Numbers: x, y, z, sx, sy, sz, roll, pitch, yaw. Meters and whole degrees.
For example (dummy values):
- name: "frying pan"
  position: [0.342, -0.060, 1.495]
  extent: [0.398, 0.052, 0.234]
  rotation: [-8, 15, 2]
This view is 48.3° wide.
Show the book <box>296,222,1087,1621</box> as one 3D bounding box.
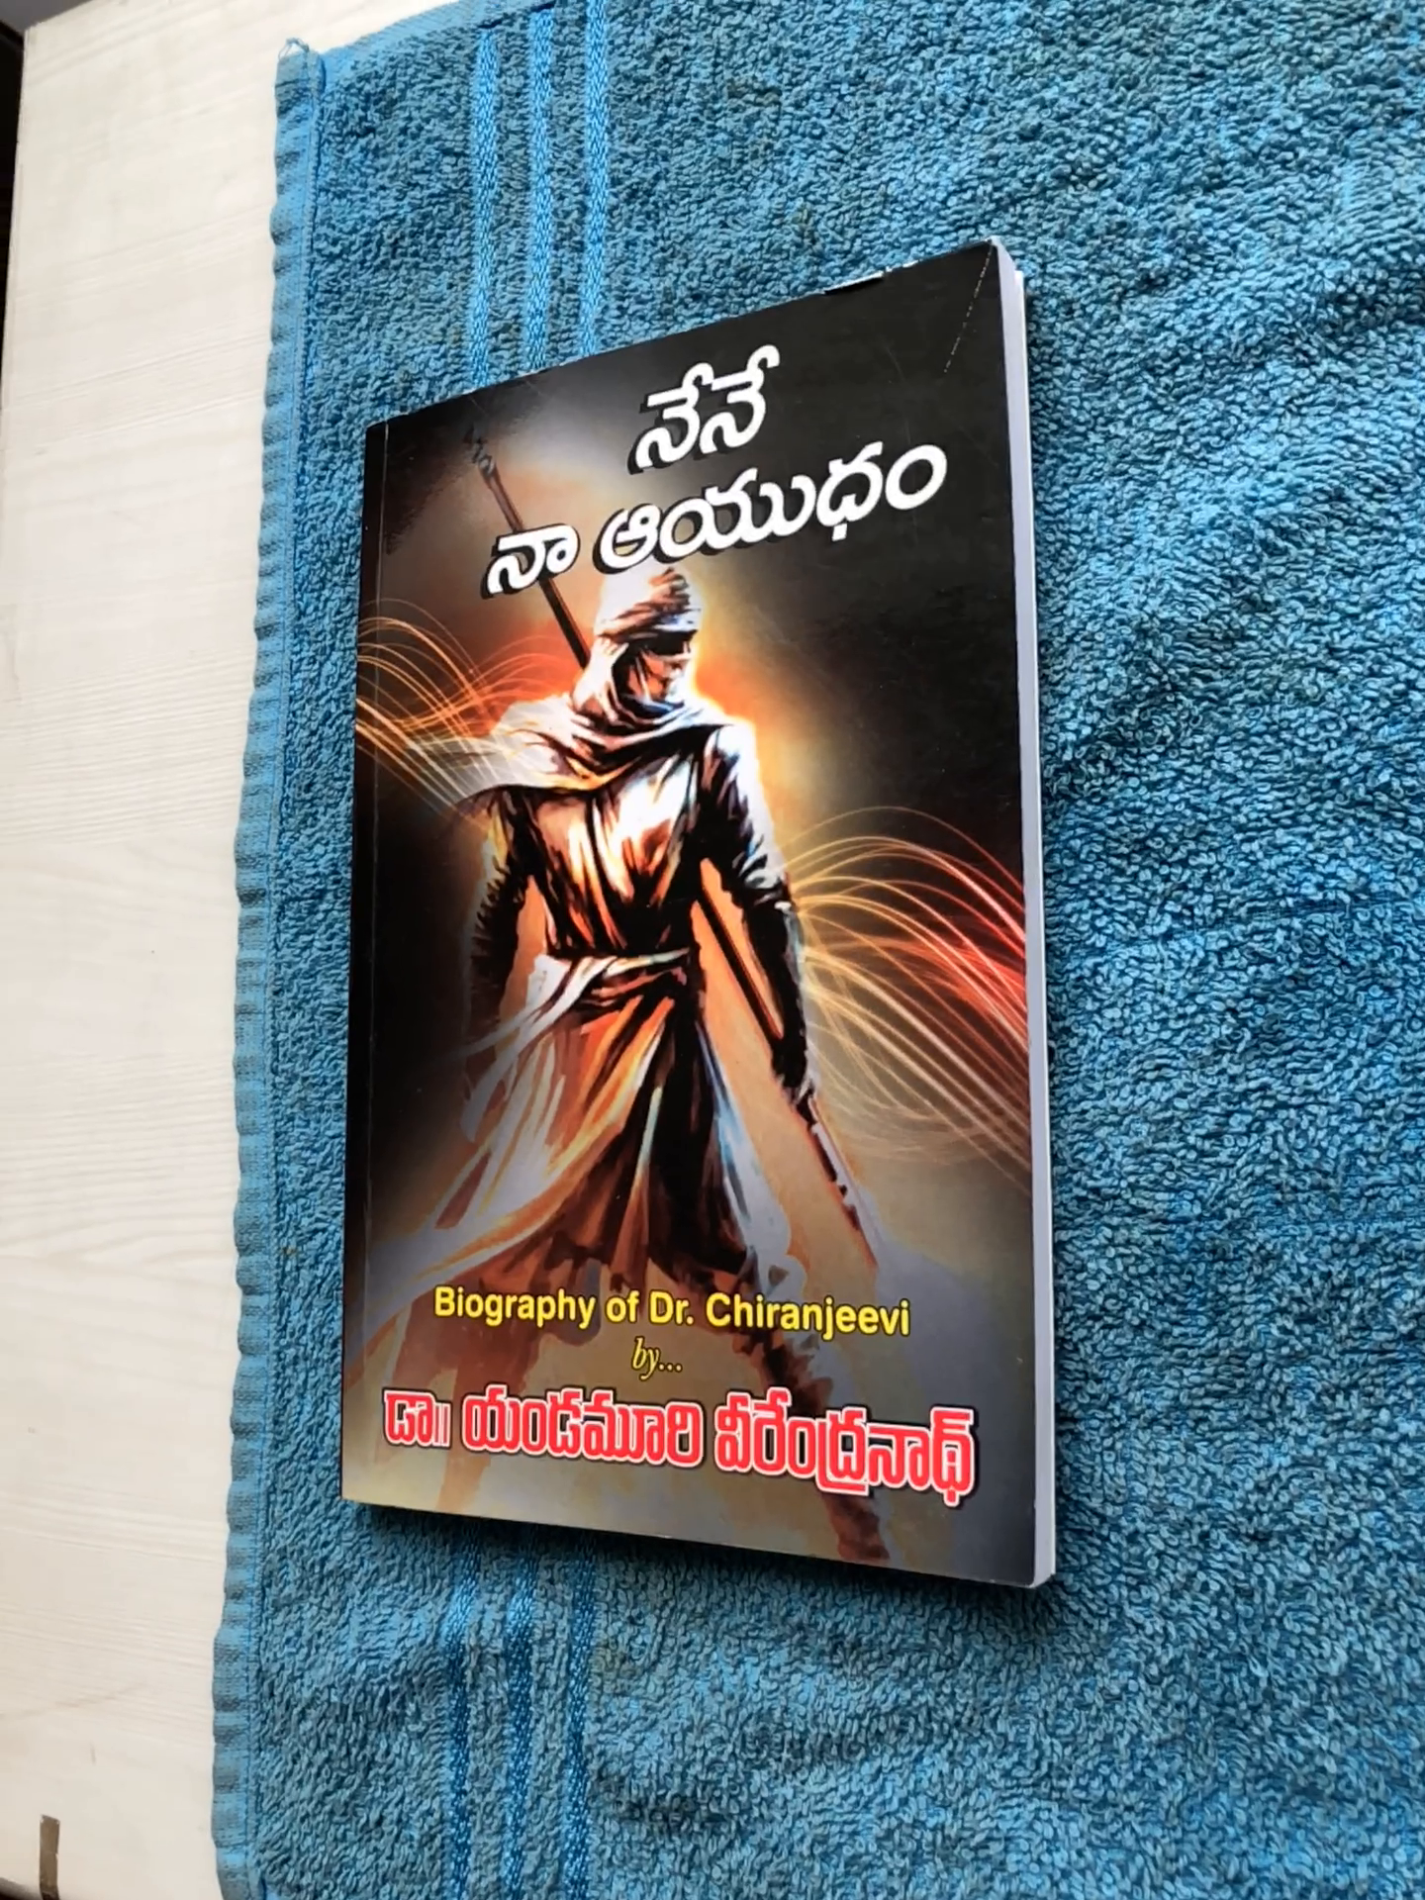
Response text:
- name: "book"
  position: [-0.008, -0.005, 0.291]
  extent: [0.140, 0.030, 0.220]
  rotation: [-4, 82, 26]
